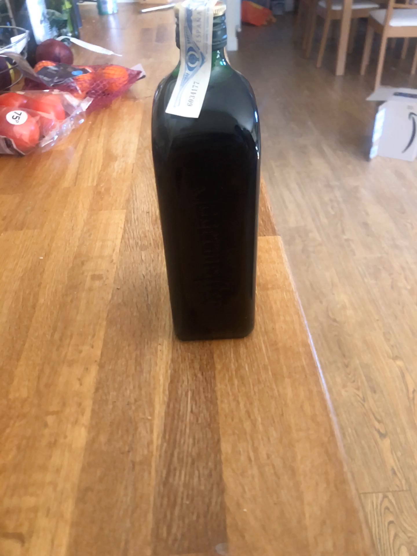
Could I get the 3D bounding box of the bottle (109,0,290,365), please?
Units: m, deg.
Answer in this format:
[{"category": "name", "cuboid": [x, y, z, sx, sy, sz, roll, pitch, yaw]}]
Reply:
[{"category": "bottle", "cuboid": [-0.002, -0.054, 0.311, 0.080, 0.218, 0.101, -3, 39, 0]}]
